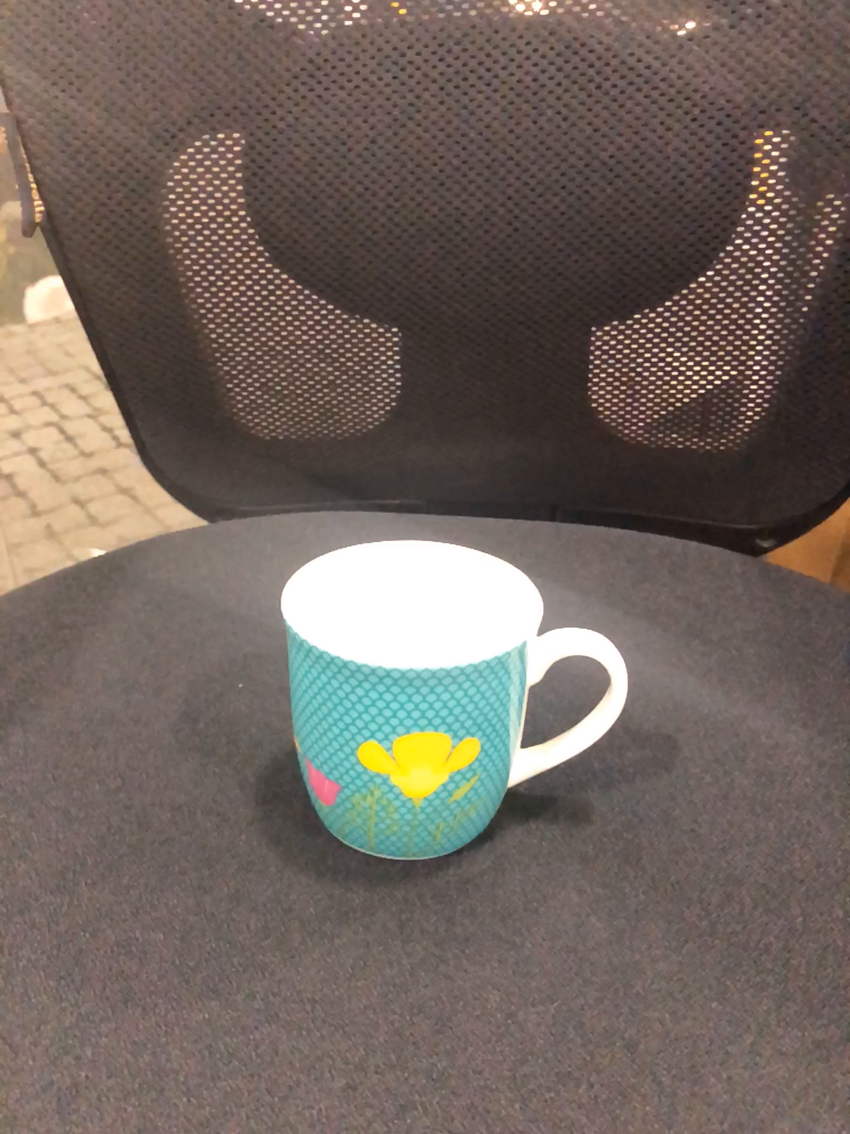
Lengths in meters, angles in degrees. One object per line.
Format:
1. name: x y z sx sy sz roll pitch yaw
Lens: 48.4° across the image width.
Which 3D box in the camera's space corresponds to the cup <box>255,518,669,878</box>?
1. cup: 0.006 0.038 0.299 0.110 0.080 0.070 -2 32 -7
